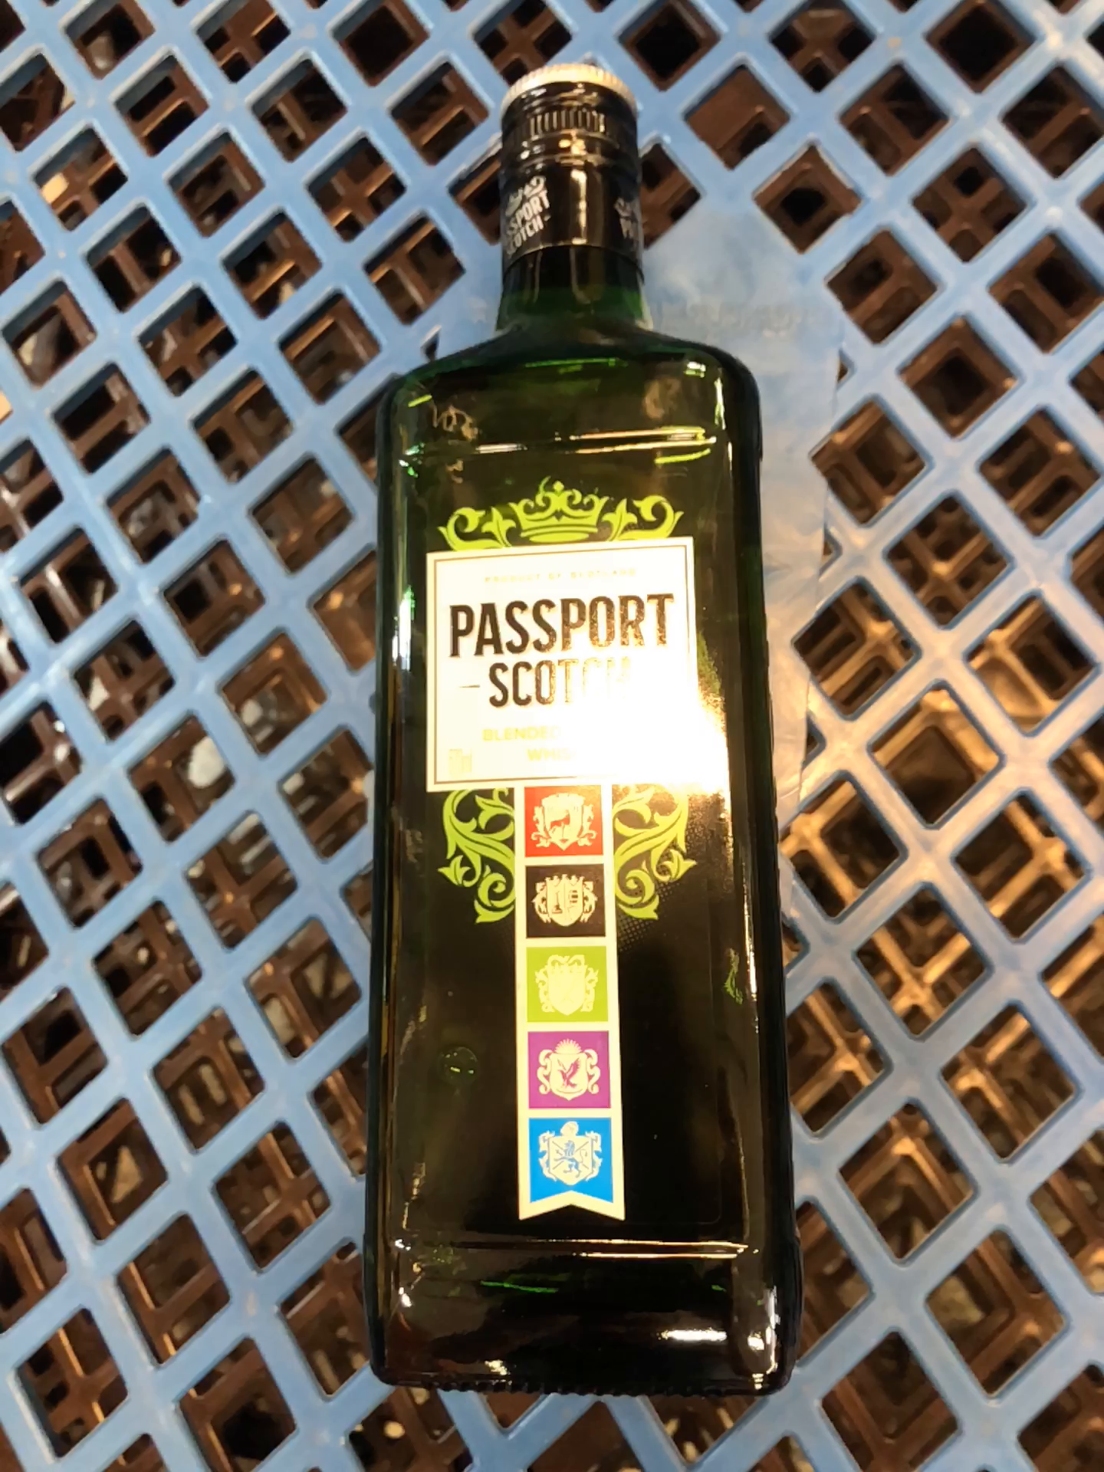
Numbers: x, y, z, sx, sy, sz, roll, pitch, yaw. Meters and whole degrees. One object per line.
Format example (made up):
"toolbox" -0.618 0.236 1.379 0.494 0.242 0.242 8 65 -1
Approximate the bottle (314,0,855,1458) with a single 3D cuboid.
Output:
"bottle" 0.006 -0.026 0.243 0.080 0.070 0.280 -3 78 9
